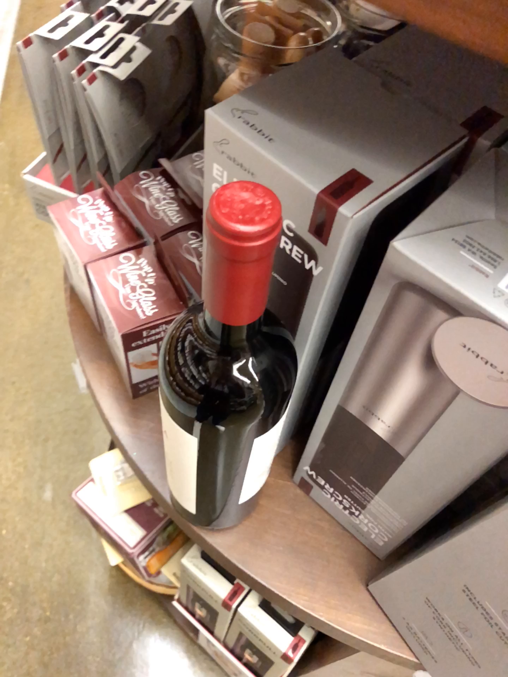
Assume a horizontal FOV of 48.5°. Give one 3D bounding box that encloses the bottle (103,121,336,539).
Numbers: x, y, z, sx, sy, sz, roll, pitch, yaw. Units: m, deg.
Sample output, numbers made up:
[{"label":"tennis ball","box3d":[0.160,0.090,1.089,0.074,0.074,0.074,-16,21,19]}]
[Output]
[{"label":"bottle","box3d":[-0.018,0.030,0.320,0.072,0.285,0.076,2,55,-3]}]
